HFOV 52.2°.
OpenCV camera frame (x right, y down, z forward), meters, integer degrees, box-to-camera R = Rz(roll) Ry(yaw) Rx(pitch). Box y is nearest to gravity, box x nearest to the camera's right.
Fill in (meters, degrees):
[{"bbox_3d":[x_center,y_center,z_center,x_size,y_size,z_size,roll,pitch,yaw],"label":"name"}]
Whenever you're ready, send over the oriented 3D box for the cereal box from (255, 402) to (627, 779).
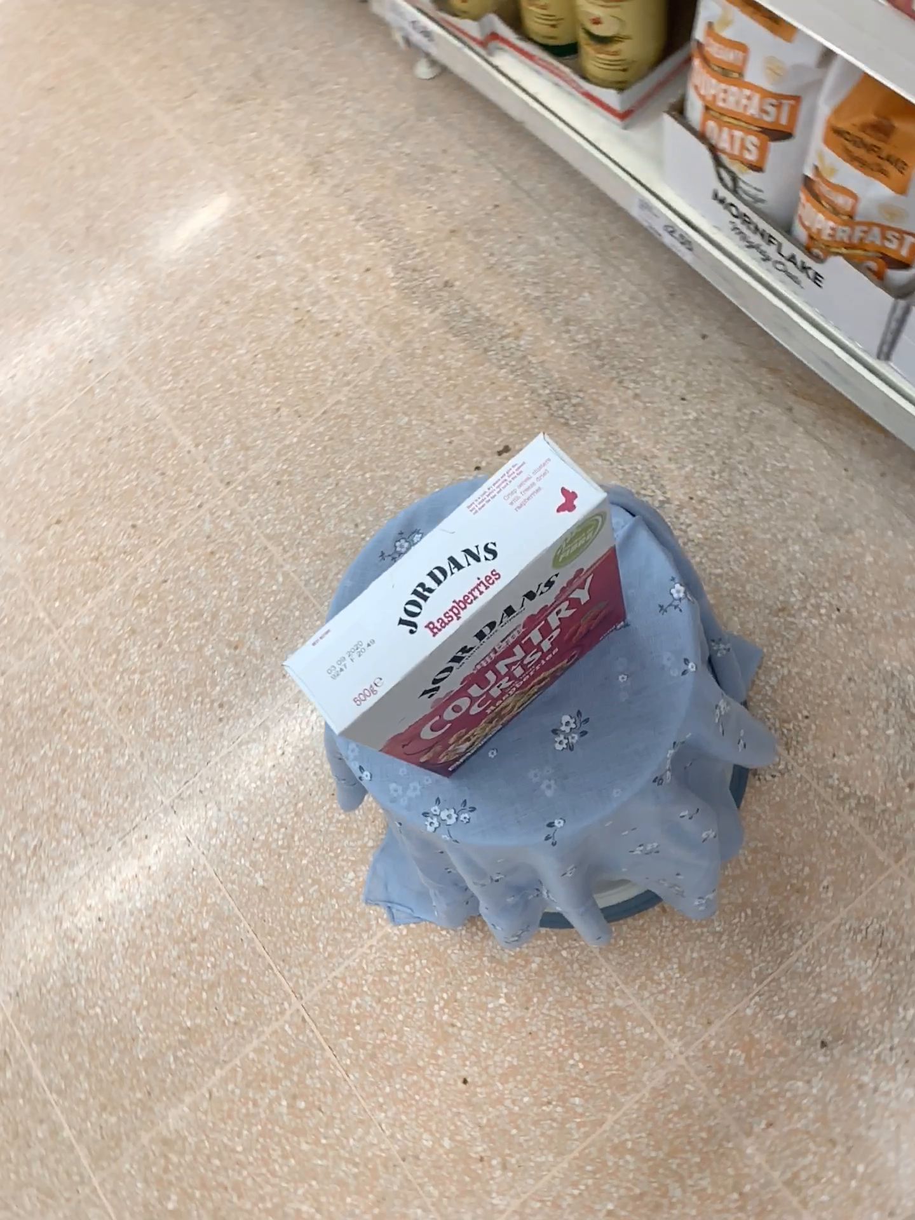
[{"bbox_3d":[0.014,0.011,0.605,0.200,0.269,0.060,-40,72,-2],"label":"cereal box"}]
